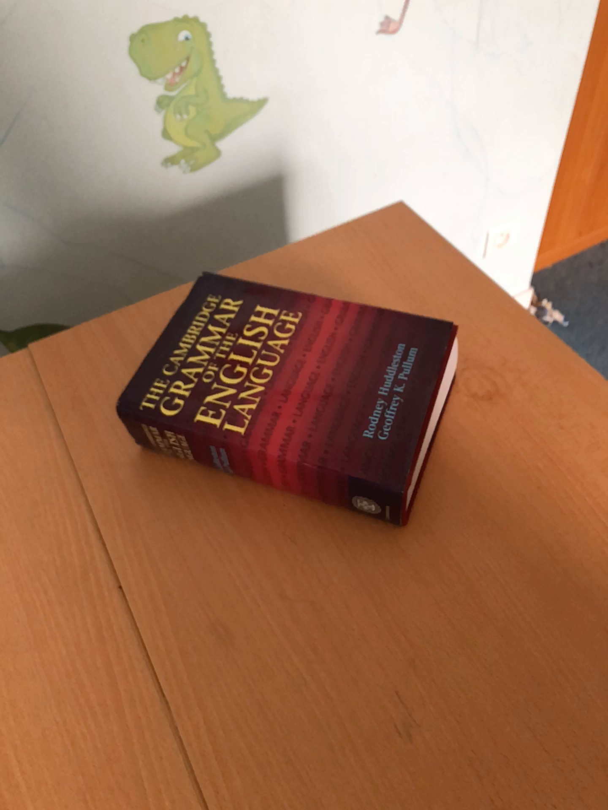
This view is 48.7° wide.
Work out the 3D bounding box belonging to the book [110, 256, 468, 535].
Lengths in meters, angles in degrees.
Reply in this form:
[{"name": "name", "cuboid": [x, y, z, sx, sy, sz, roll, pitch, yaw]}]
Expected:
[{"name": "book", "cuboid": [-0.006, -0.020, 0.616, 0.260, 0.070, 0.195, 16, 55, 14]}]
